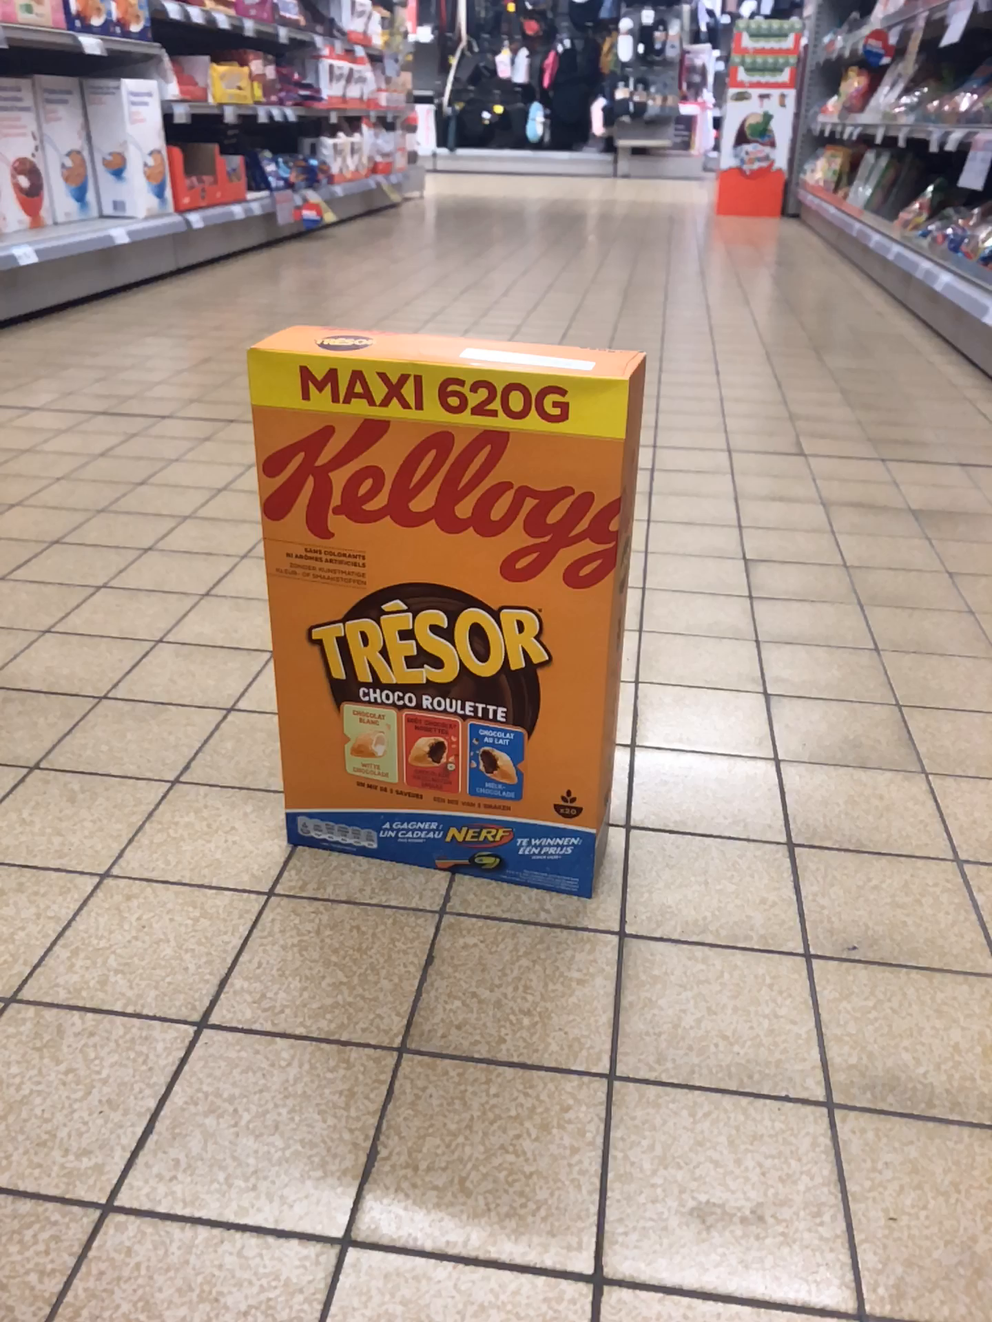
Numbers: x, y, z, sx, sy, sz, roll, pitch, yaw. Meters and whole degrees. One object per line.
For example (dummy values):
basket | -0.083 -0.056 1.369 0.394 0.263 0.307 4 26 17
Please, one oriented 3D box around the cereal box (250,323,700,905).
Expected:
cereal box | -0.012 -0.024 0.598 0.210 0.288 0.070 8 26 14
